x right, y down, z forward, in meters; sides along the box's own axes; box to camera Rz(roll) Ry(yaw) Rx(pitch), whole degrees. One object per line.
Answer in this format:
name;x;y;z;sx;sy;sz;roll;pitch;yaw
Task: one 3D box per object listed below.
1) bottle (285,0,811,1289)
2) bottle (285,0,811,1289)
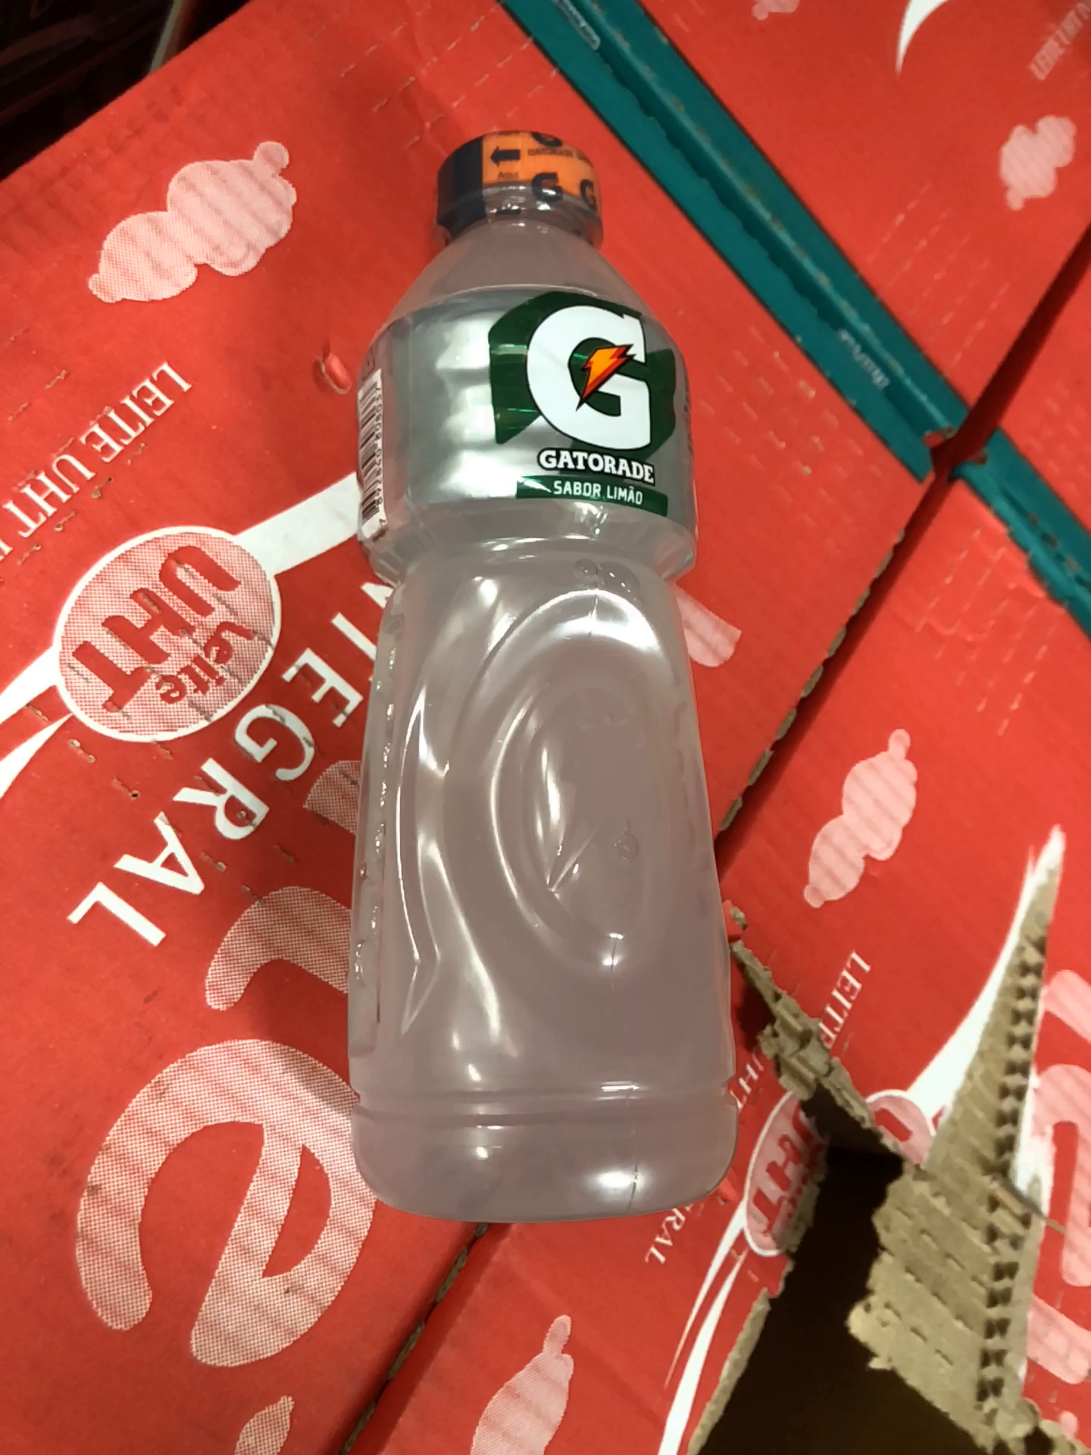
bottle;-0.006;-0.018;0.231;0.070;0.060;0.210;4;76;-29
bottle;-0.006;-0.018;0.231;0.070;0.060;0.210;4;76;-29
